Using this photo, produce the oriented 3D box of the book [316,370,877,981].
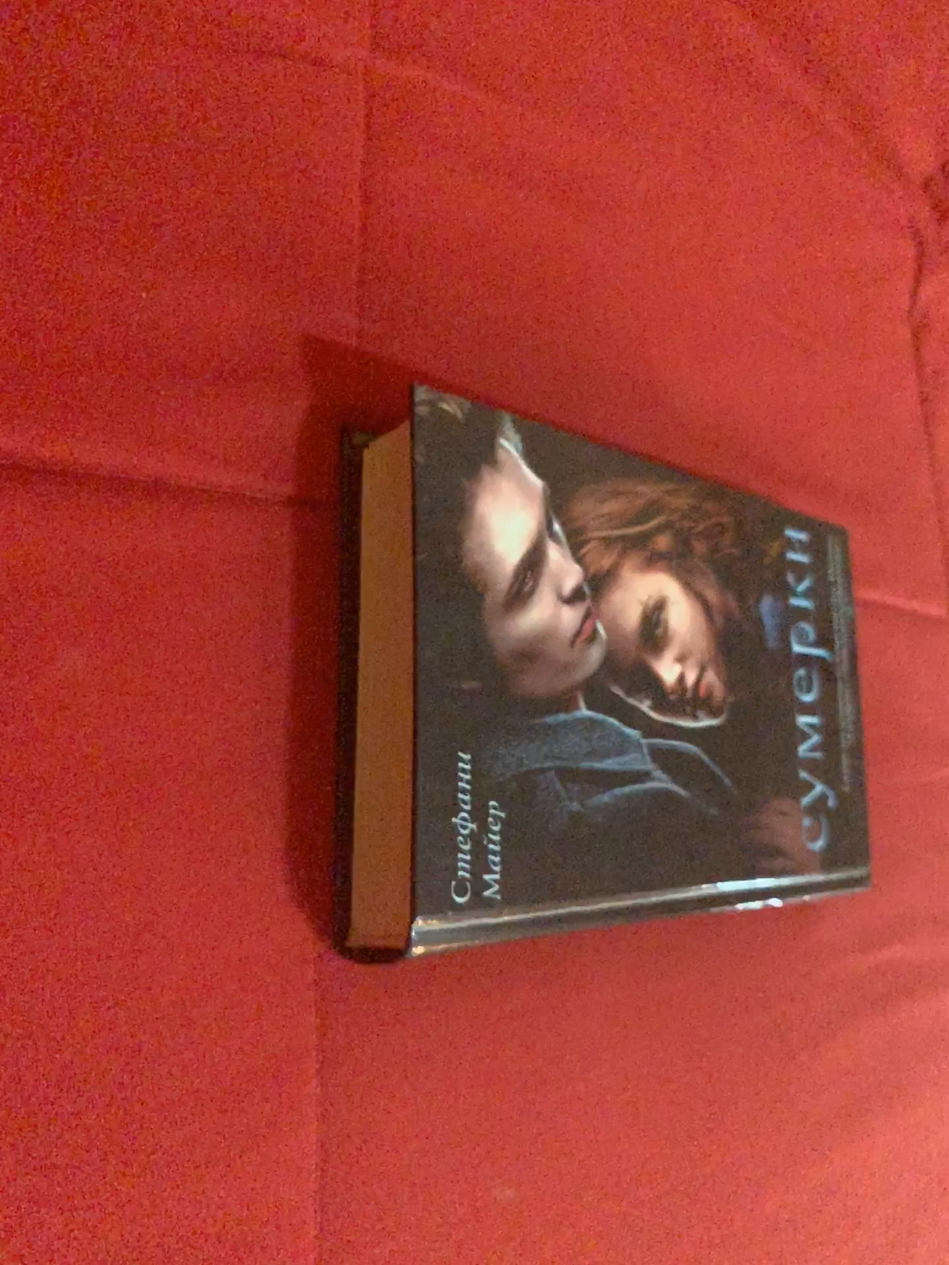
[{"bbox_3d":[0.054,0.019,0.300,0.210,0.036,0.134,8,81,-42],"label":"book"}]
